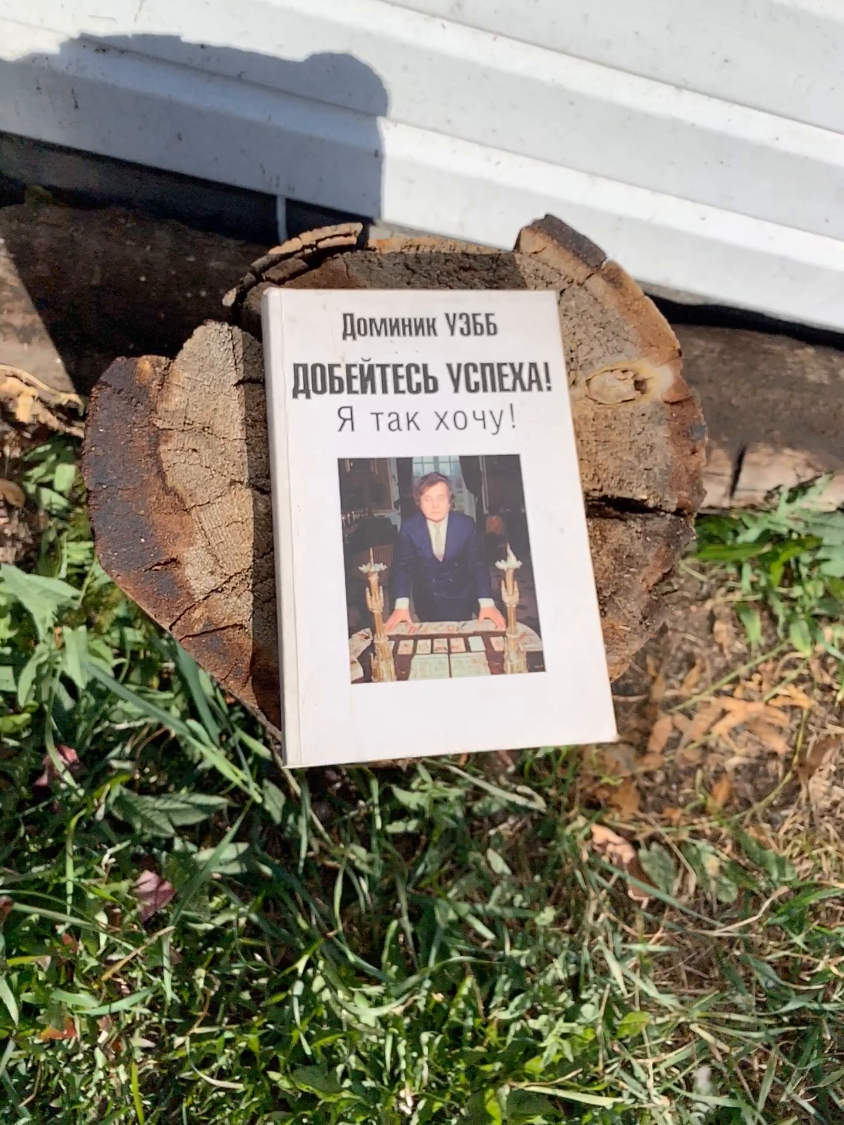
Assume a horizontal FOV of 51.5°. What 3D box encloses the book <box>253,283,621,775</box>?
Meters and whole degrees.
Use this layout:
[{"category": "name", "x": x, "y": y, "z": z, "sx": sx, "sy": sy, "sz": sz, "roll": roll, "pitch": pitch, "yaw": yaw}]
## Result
[{"category": "book", "x": 0.001, "y": -0.022, "z": 0.377, "sx": 0.139, "sy": 0.020, "sz": 0.210, "roll": -2, "pitch": 74, "yaw": -10}]
